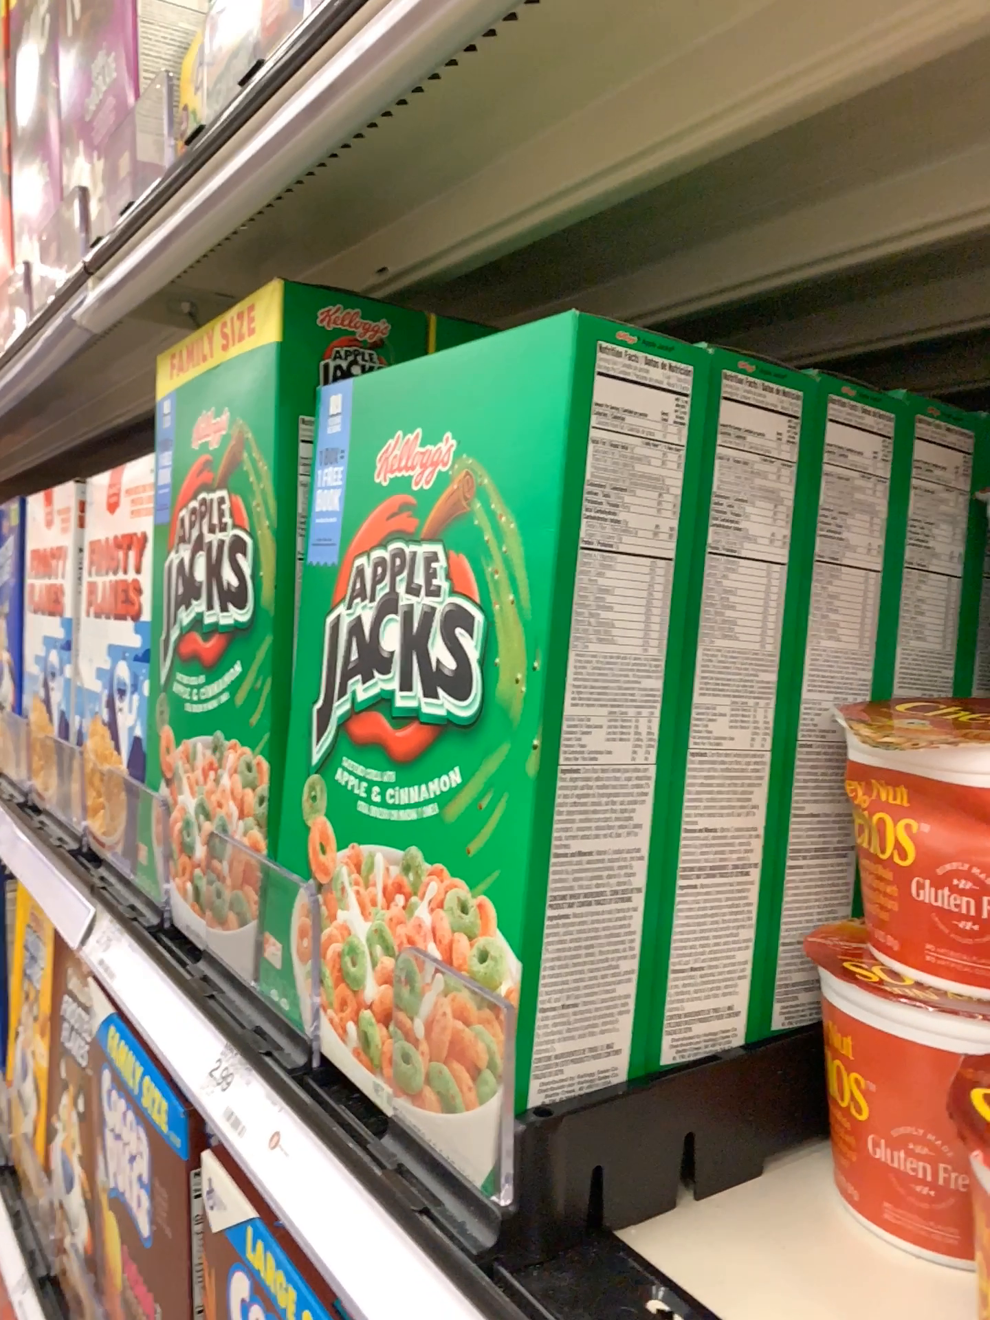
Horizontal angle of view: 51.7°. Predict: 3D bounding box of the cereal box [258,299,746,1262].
[{"bbox_3d":[-0.013,0.031,0.405,0.060,0.290,0.200,5,1,-35],"label":"cereal box"}]
